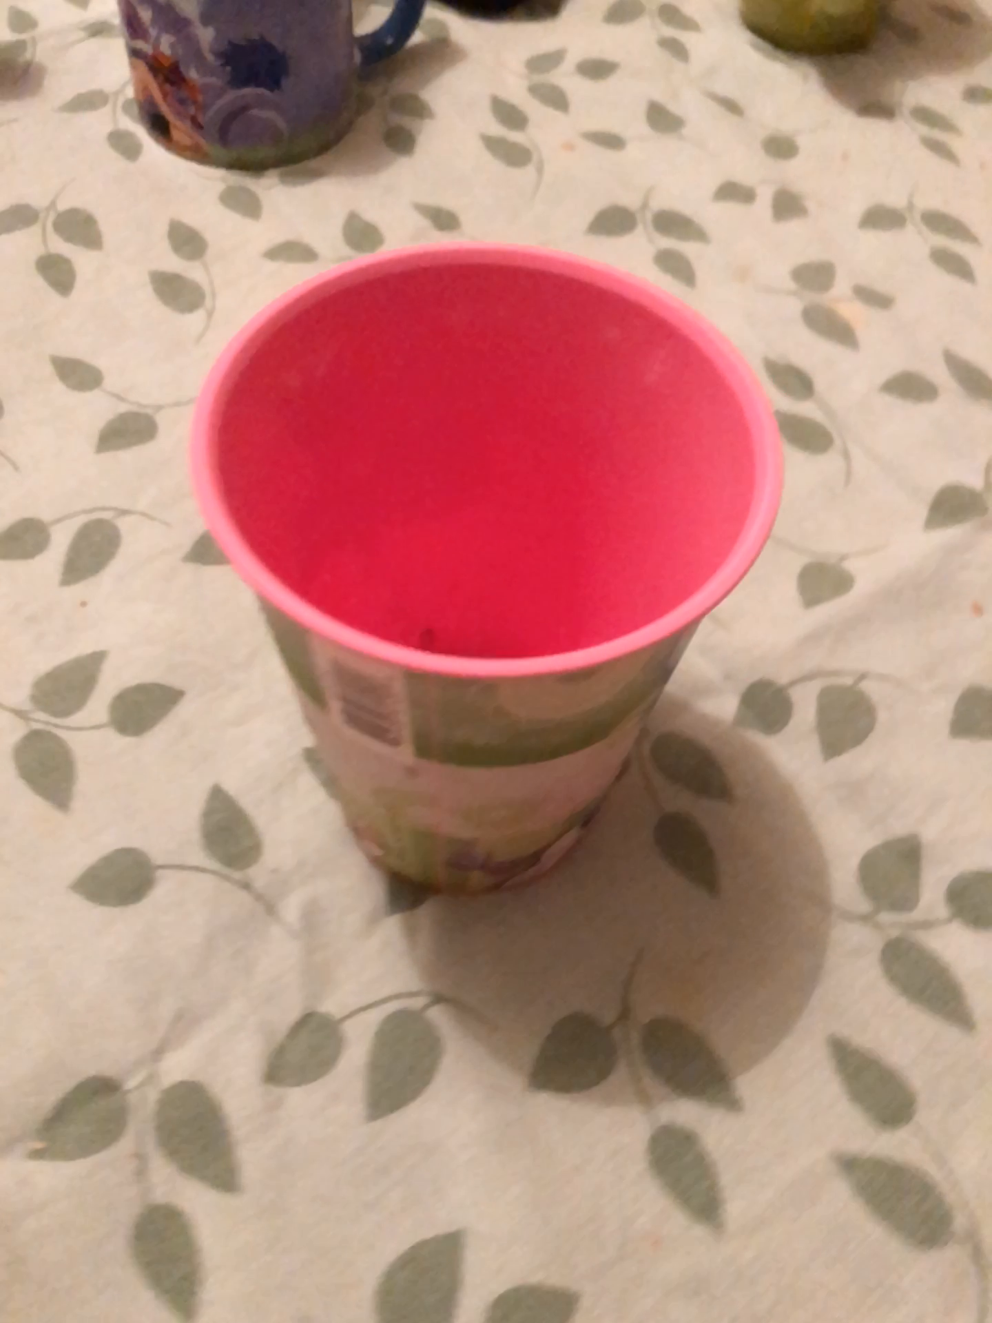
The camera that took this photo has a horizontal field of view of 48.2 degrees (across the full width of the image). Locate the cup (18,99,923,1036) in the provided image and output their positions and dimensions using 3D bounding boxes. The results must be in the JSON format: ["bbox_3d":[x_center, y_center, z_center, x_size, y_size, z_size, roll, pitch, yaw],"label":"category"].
[{"bbox_3d":[0.000,-0.012,0.214,0.100,0.119,0.101,1,57,-2],"label":"cup"}]
